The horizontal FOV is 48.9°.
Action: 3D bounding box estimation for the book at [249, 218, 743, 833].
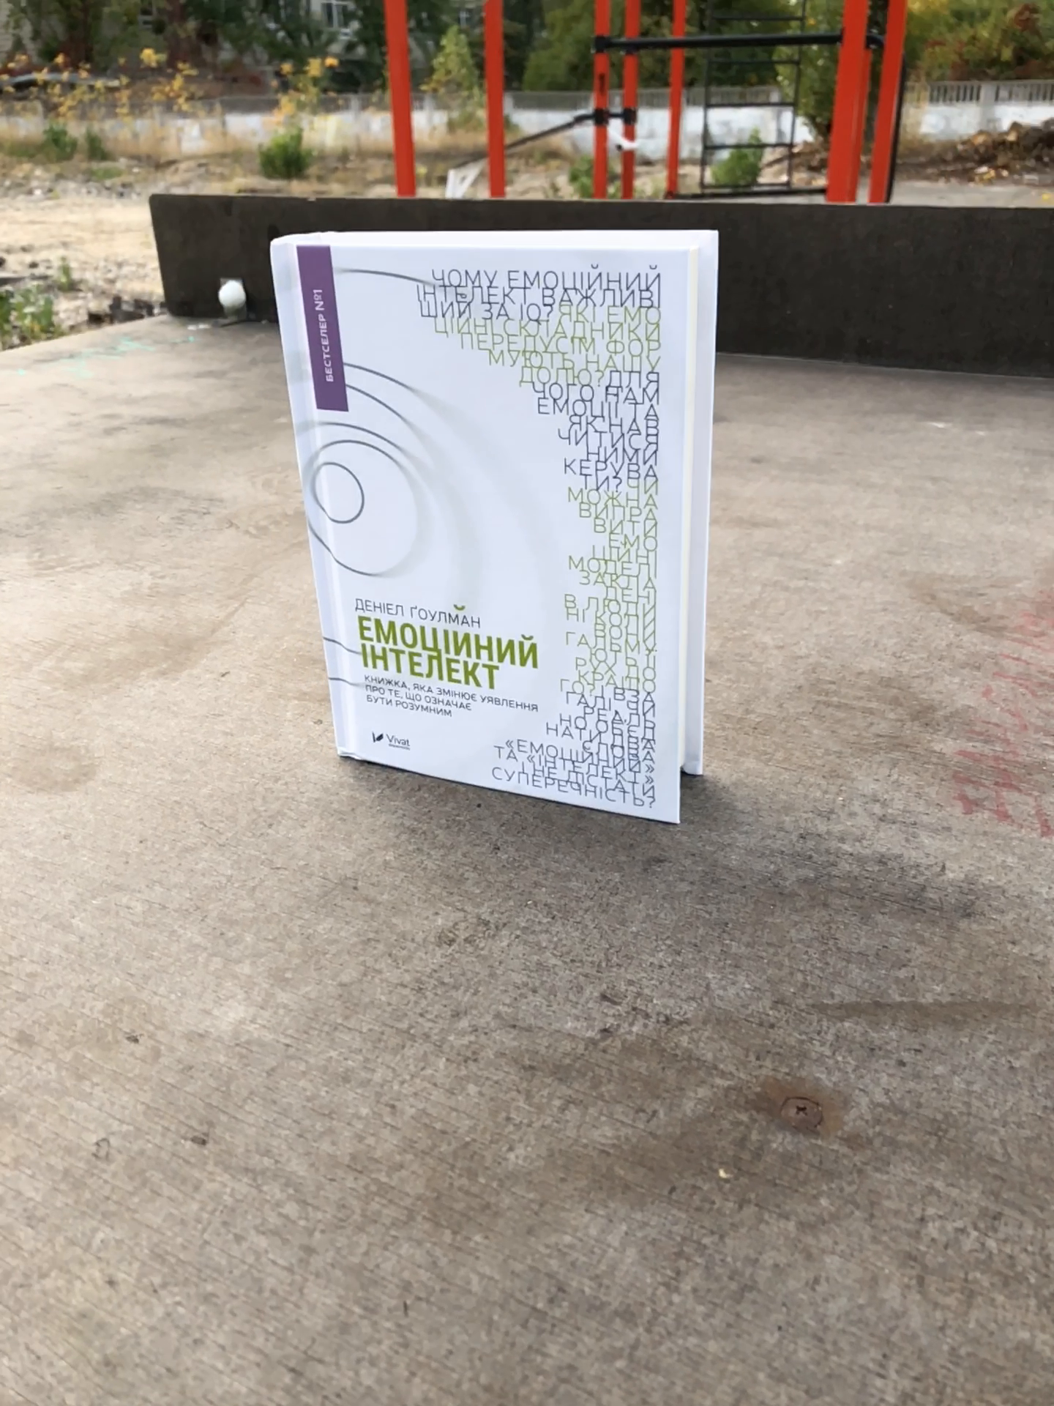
[{"bbox_3d":[-0.010,-0.067,0.439,0.160,0.209,0.050,10,29,20],"label":"book"}]
